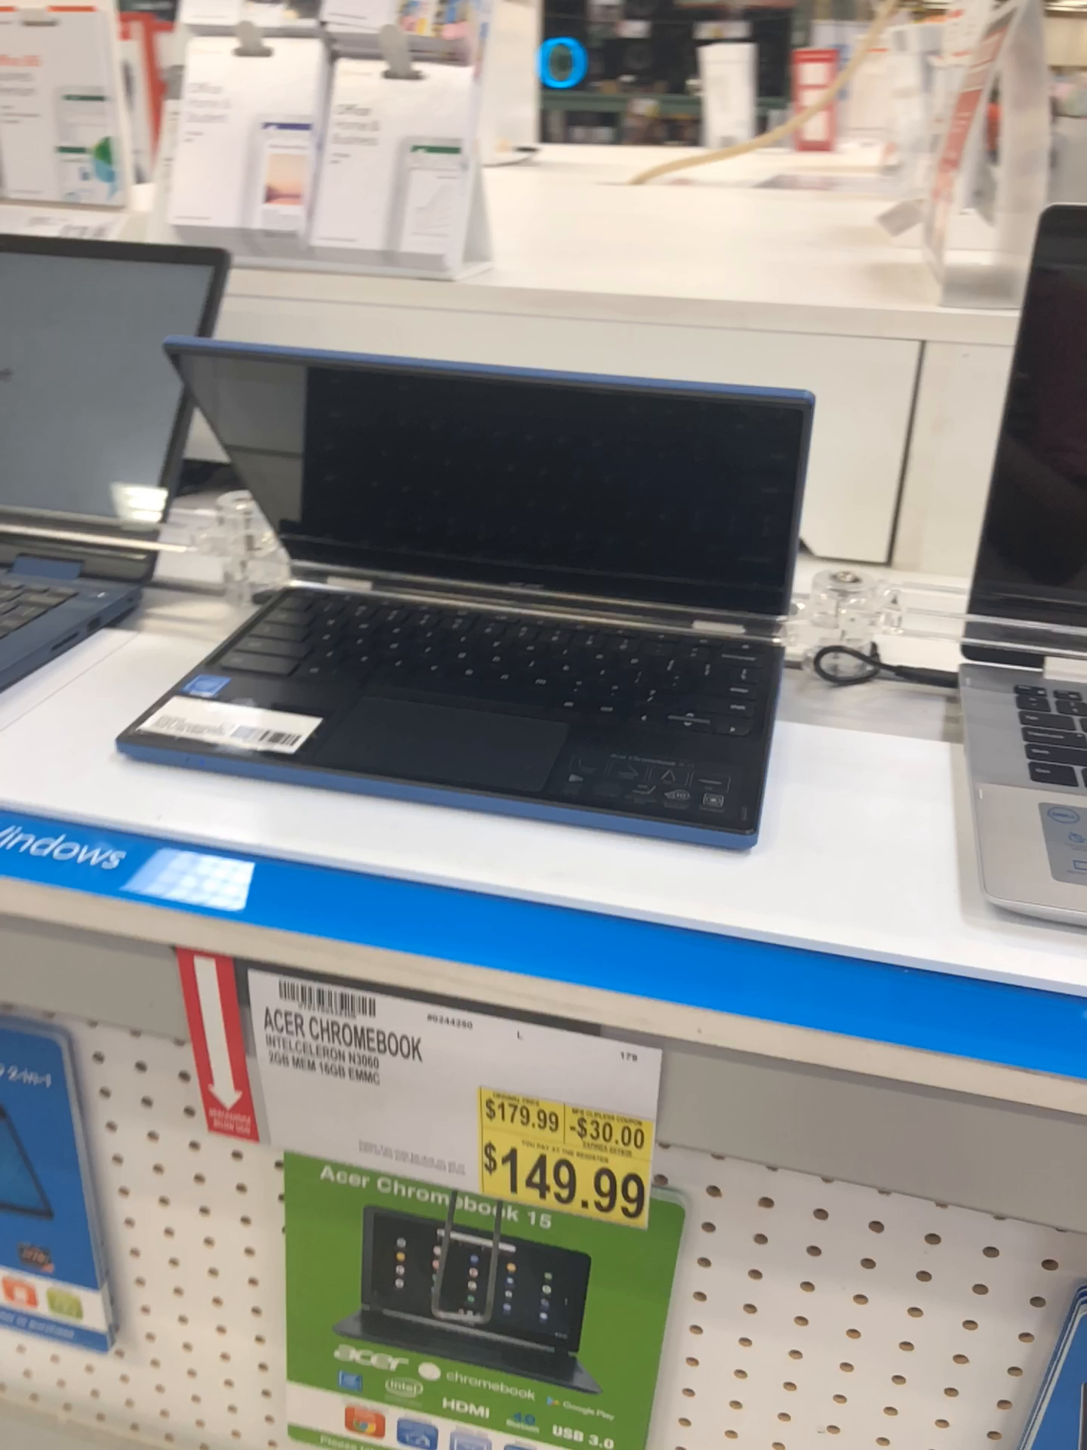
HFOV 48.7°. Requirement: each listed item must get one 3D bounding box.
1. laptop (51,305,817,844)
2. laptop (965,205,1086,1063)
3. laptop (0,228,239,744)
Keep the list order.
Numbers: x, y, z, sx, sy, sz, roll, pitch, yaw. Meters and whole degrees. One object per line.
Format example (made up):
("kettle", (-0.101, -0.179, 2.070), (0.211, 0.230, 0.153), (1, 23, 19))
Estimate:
("laptop", (-0.034, -0.089, 0.564), (0.293, 0.159, 0.195), (8, 28, 12))
("laptop", (0.369, -0.068, 0.467), (0.341, 0.218, 0.256), (7, 29, 14))
("laptop", (-0.404, -0.166, 0.671), (0.304, 0.169, 0.369), (8, 27, 11))
